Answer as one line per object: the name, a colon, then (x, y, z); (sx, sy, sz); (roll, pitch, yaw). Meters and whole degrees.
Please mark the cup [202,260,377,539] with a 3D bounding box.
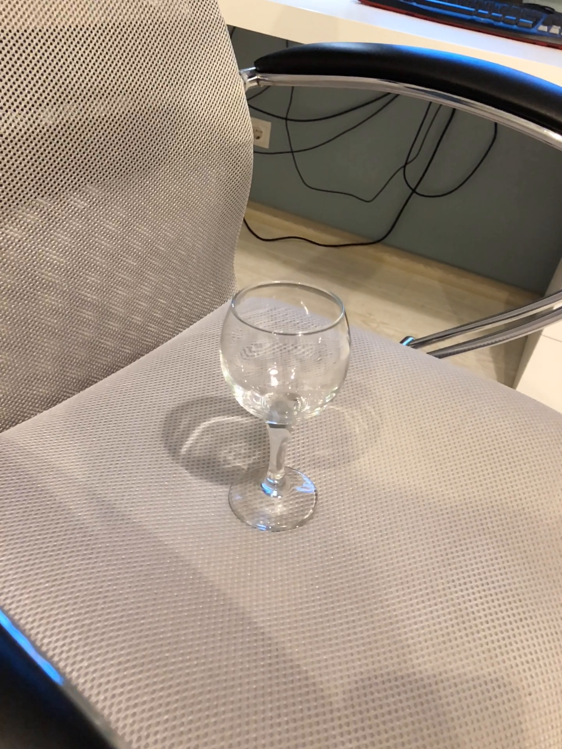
cup: (-0.001, 0.023, 0.425); (0.088, 0.172, 0.081); (6, 38, -5)
